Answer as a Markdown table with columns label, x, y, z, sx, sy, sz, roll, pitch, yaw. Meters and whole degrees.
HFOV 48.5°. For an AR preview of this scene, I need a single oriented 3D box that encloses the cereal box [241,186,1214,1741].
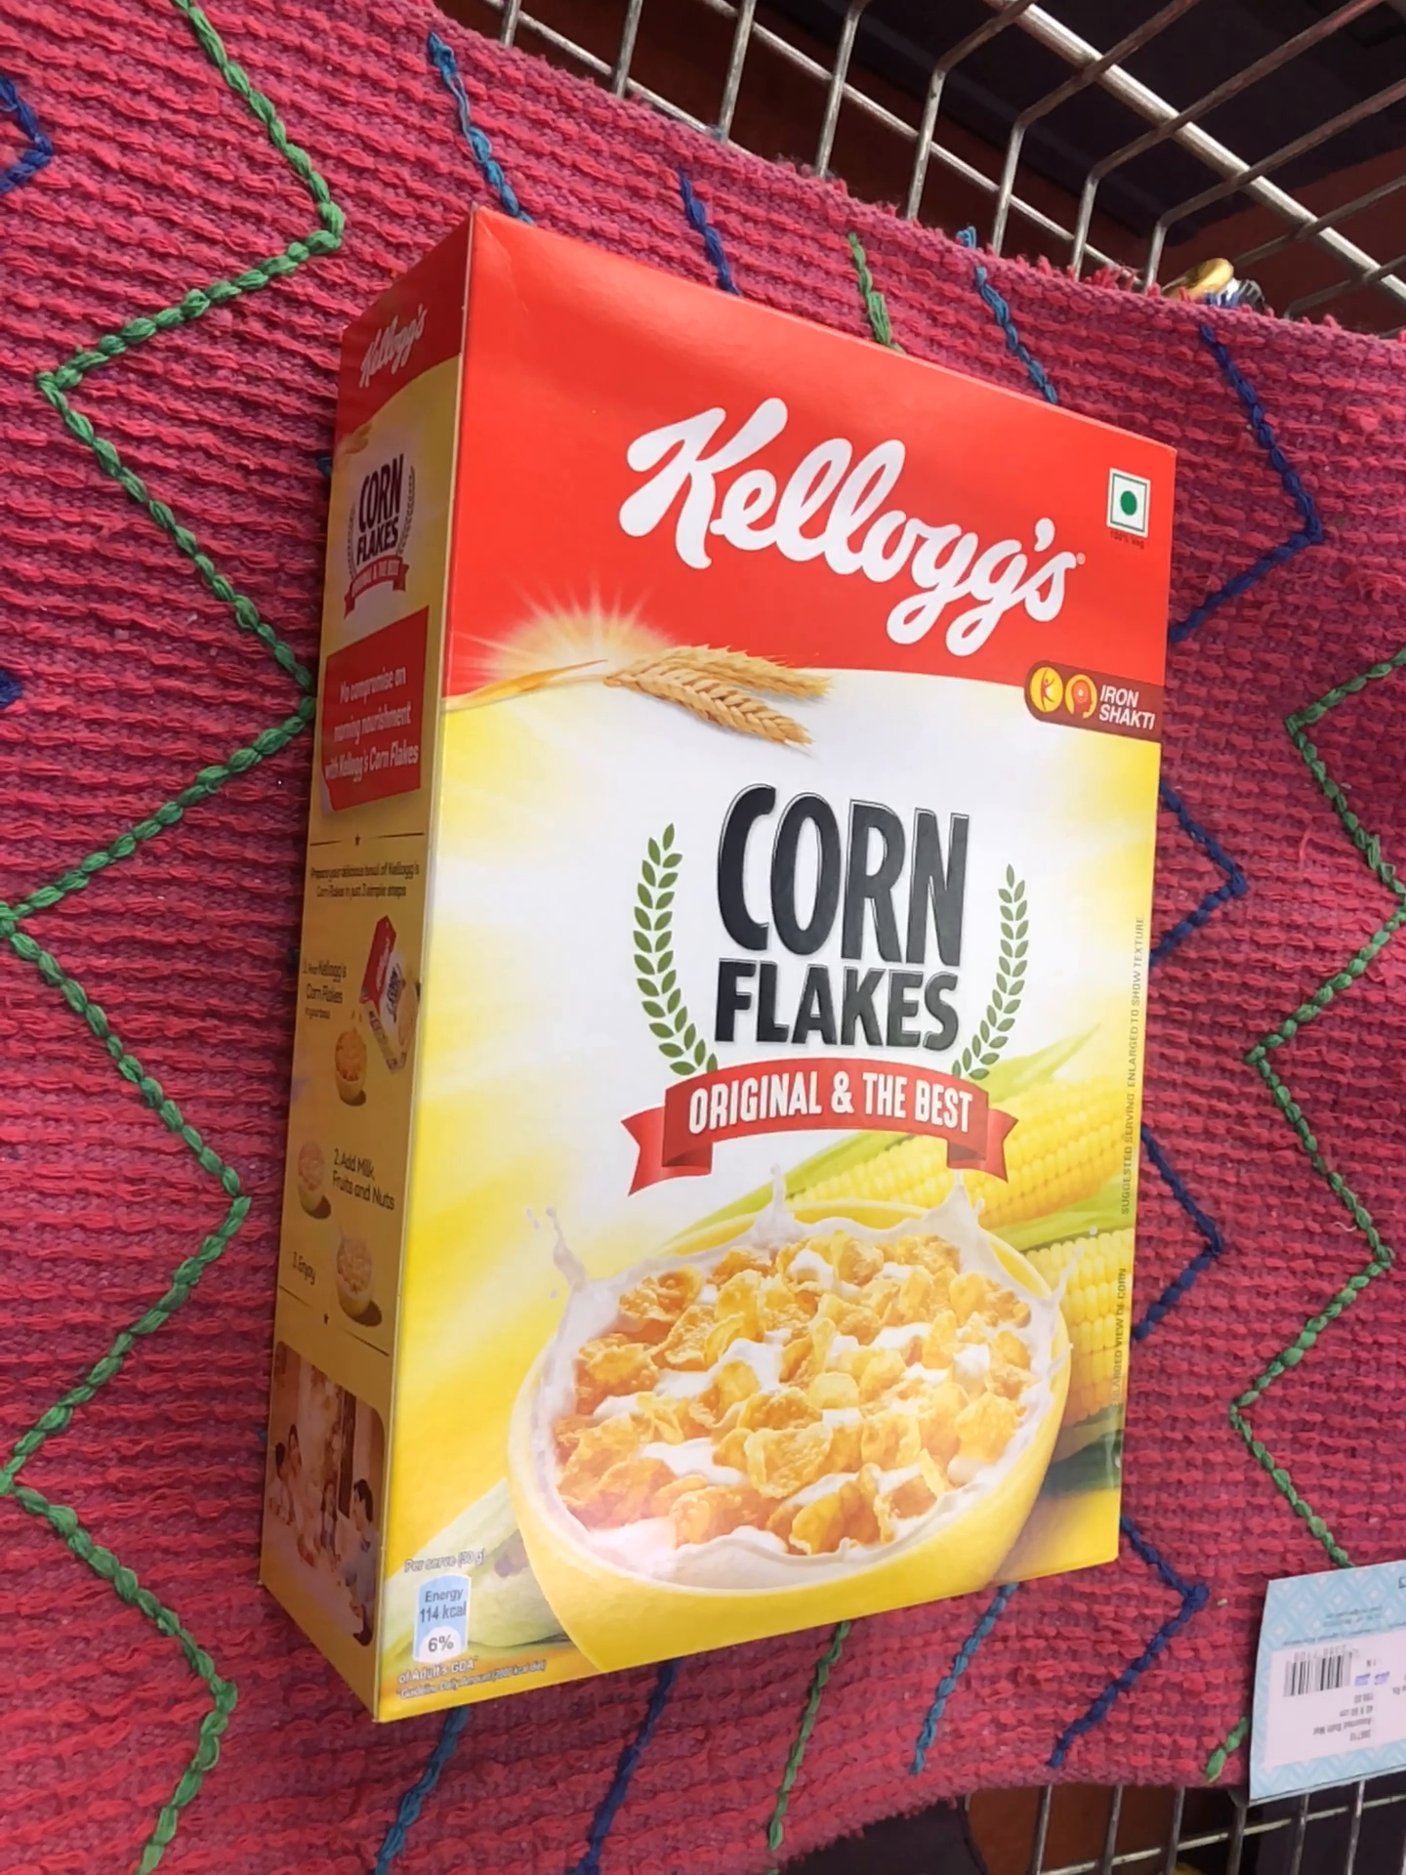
| label | x | y | z | sx | sy | sz | roll | pitch | yaw |
| --- | --- | --- | --- | --- | --- | --- | --- | --- | --- |
| cereal box | 0.012 | 0.008 | 0.341 | 0.191 | 0.070 | 0.260 | 4 | 90 | -32 |
